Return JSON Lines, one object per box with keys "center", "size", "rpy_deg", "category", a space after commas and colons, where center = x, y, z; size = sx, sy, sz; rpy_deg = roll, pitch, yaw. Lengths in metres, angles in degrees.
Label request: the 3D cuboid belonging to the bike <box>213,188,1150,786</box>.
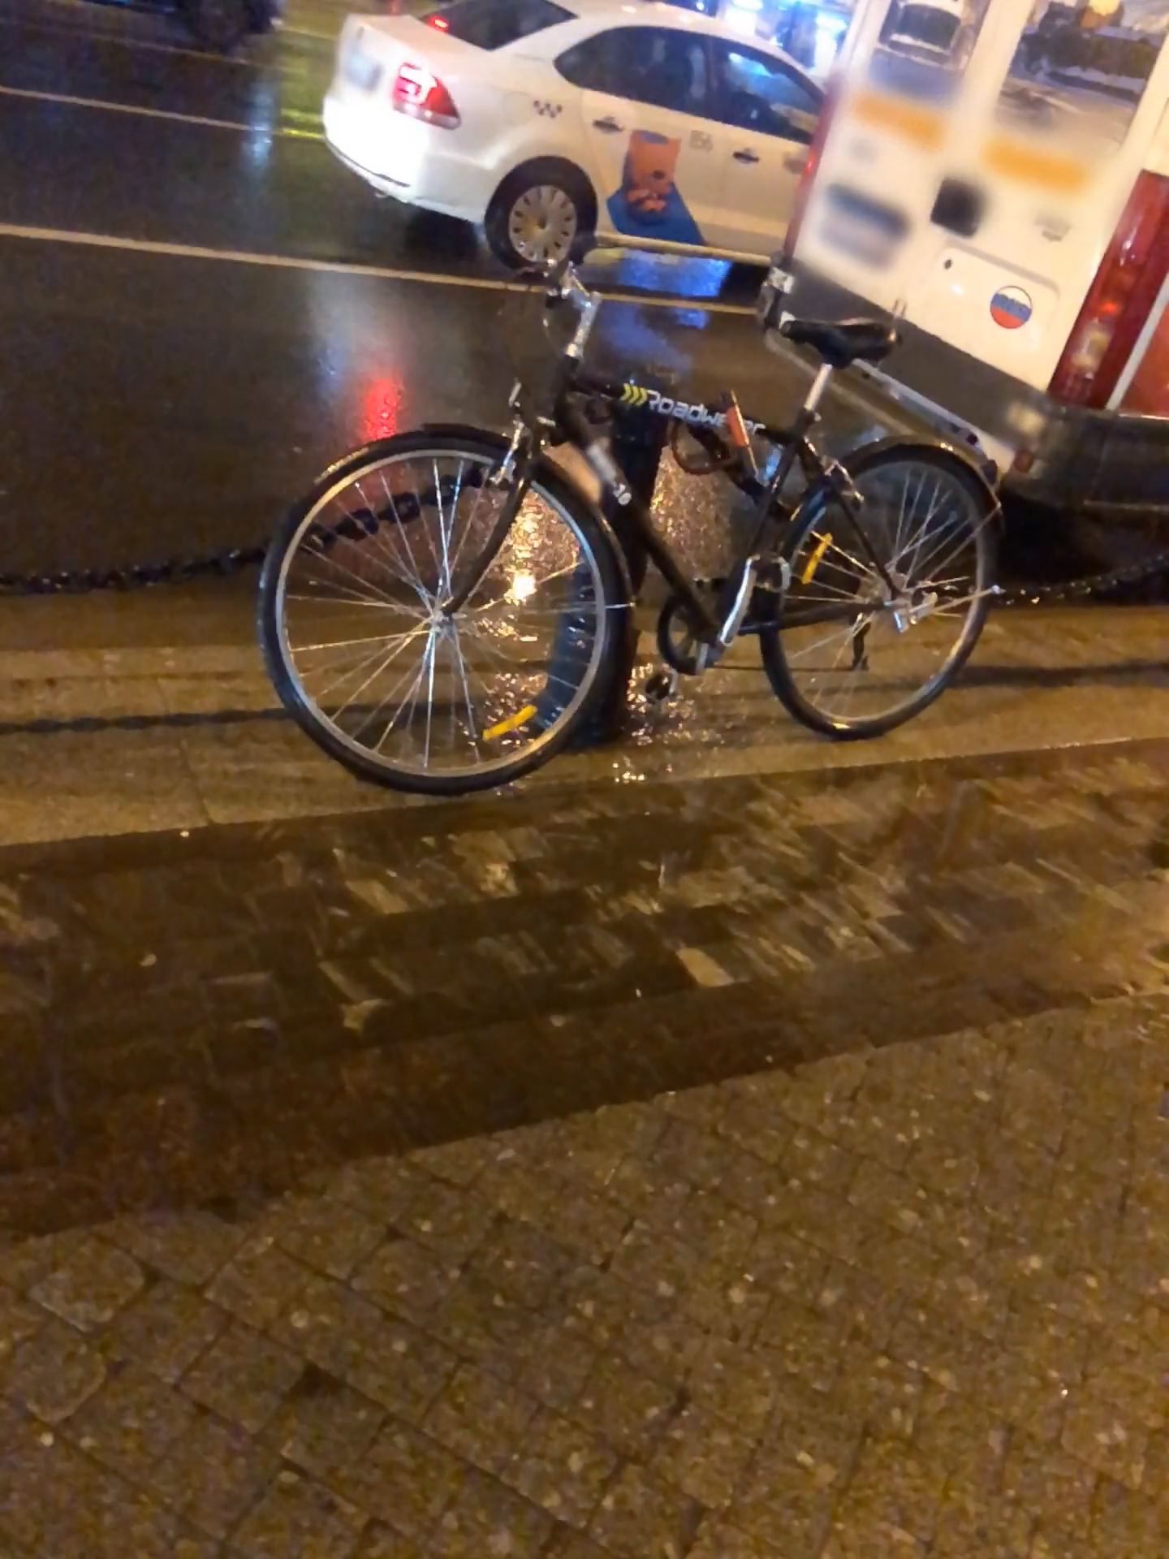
{"center": [0.174, -0.610, 2.730], "size": [1.751, 0.961, 0.555], "rpy_deg": [-4, 33, -24], "category": "bike"}
